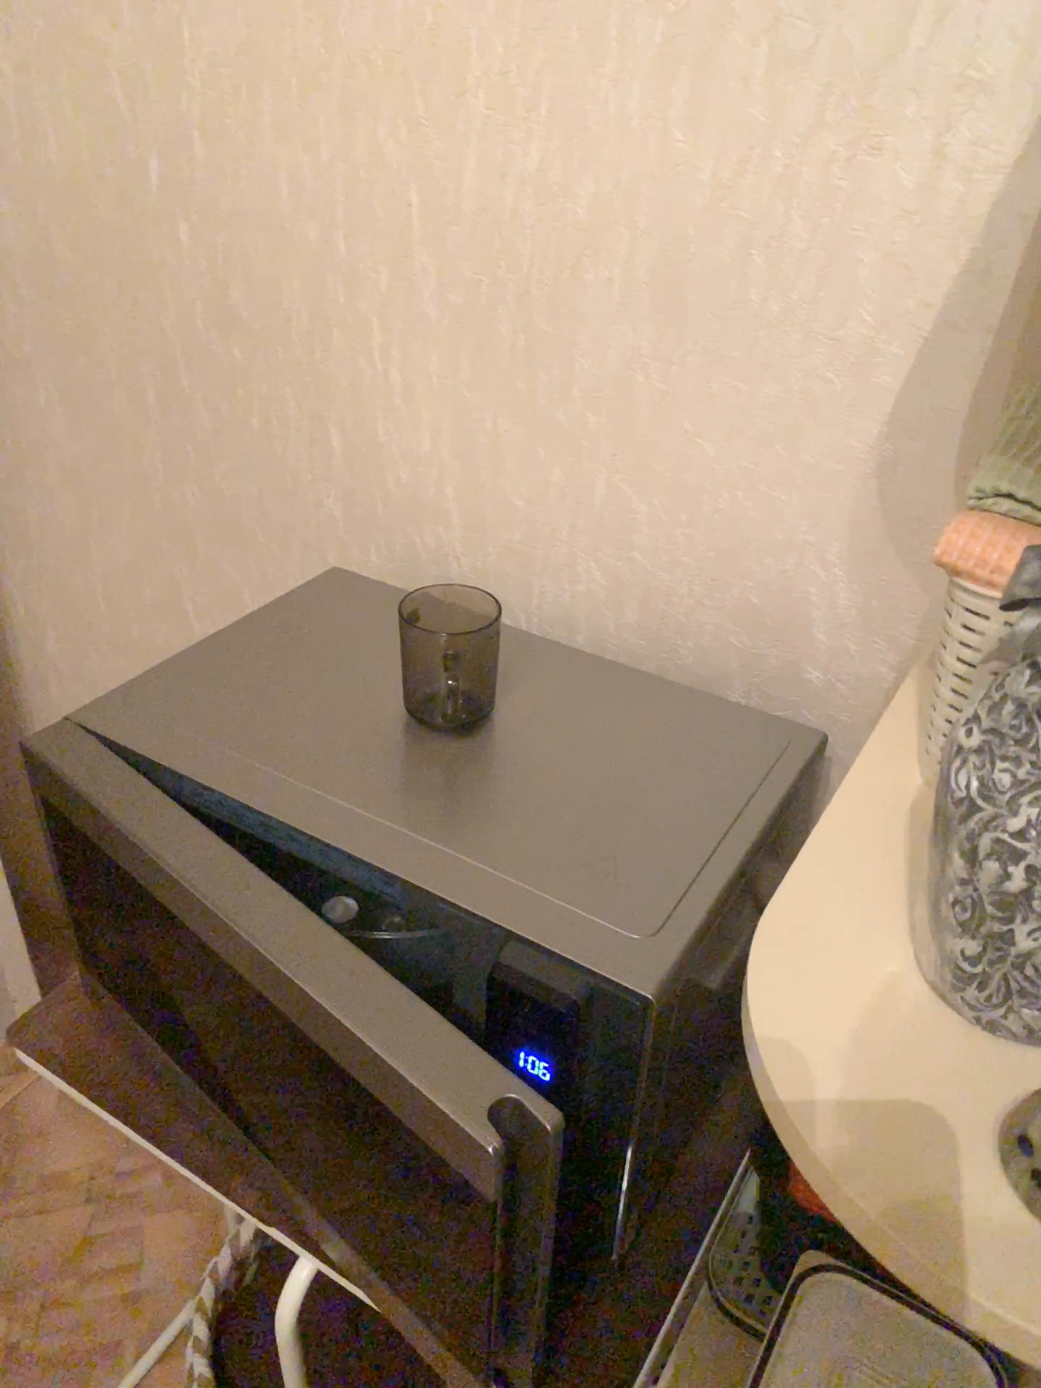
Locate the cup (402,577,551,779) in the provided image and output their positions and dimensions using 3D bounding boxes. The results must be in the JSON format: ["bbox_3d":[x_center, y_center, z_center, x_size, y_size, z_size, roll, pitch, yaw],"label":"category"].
[{"bbox_3d":[-0.033,-0.014,0.744,0.077,0.094,0.102,-8,33,-15],"label":"cup"}]
